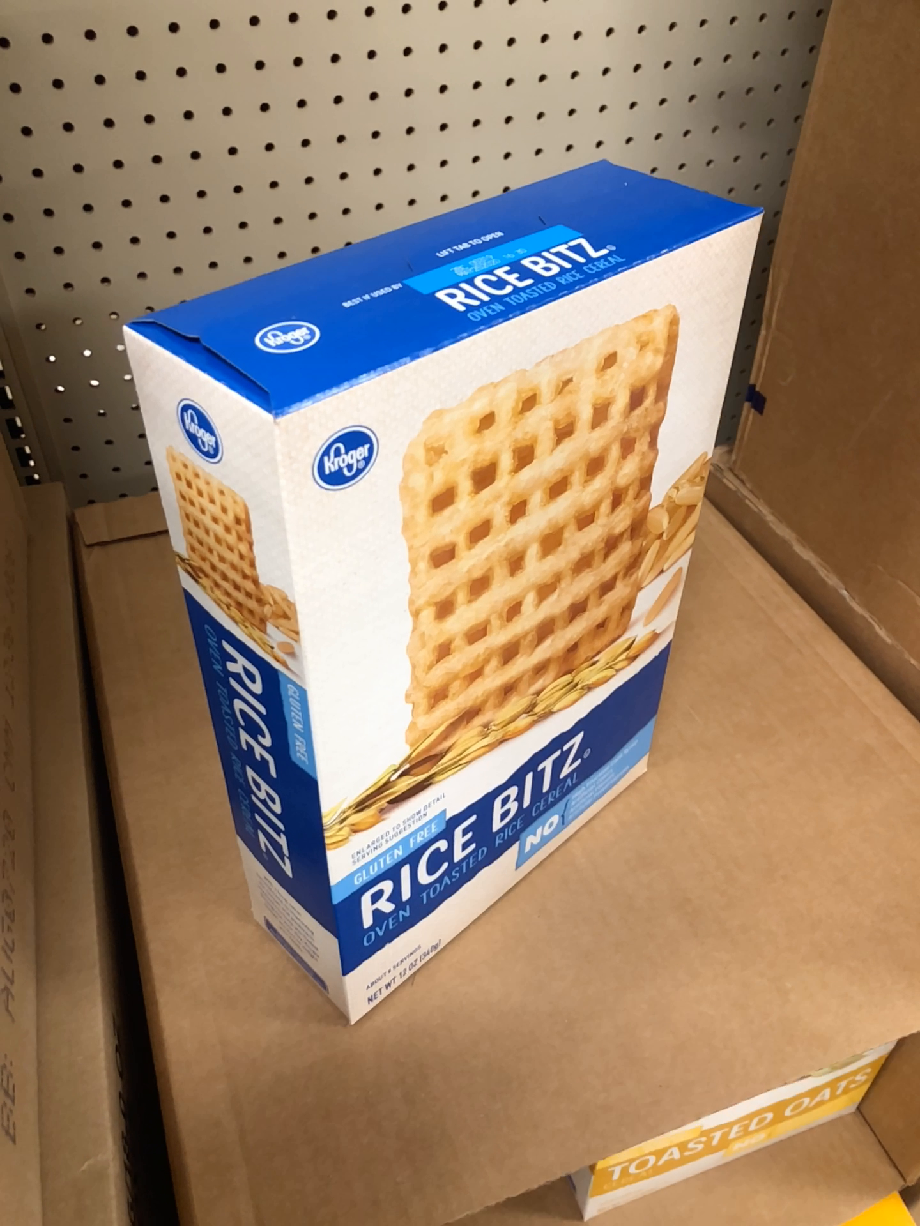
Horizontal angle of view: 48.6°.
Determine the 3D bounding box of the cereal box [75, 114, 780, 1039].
[{"bbox_3d":[0.002,-0.001,0.378,0.200,0.289,0.070,-33,52,-31],"label":"cereal box"}]
